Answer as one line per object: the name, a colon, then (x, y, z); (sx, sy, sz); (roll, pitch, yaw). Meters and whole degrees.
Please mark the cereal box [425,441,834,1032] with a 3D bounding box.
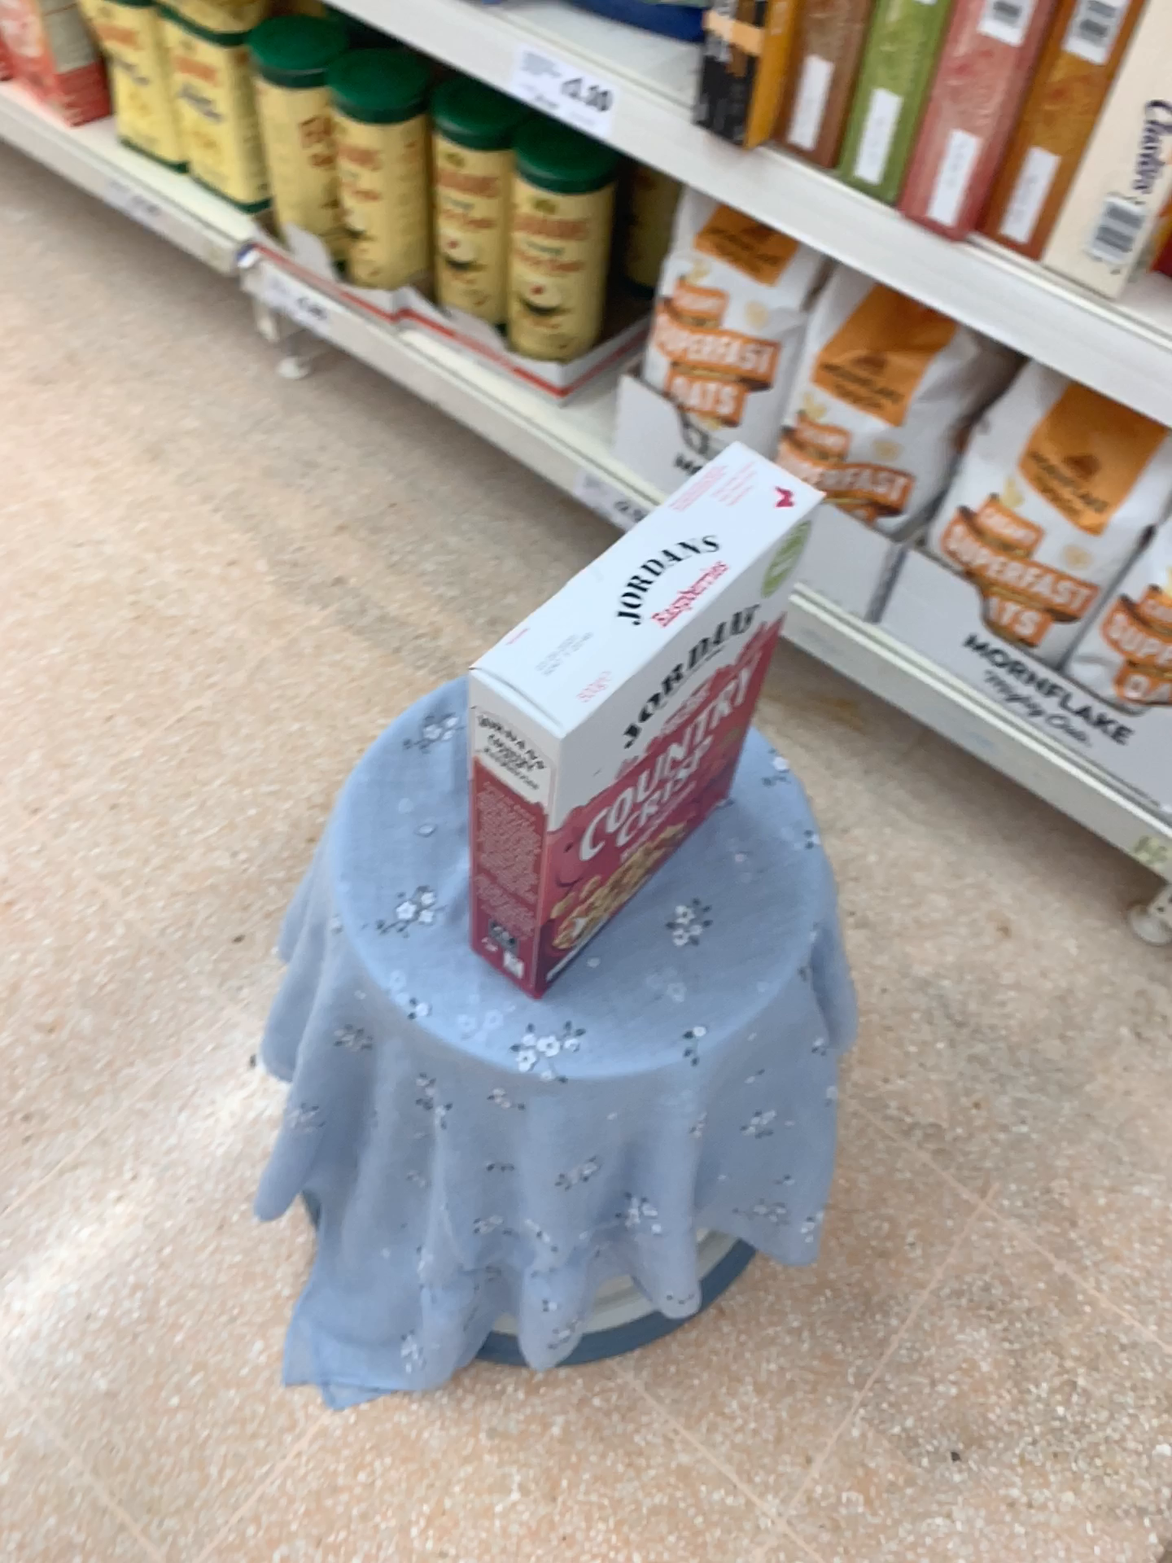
cereal box: (0.010, -0.010, 0.622); (0.060, 0.268, 0.201); (38, 60, 17)
